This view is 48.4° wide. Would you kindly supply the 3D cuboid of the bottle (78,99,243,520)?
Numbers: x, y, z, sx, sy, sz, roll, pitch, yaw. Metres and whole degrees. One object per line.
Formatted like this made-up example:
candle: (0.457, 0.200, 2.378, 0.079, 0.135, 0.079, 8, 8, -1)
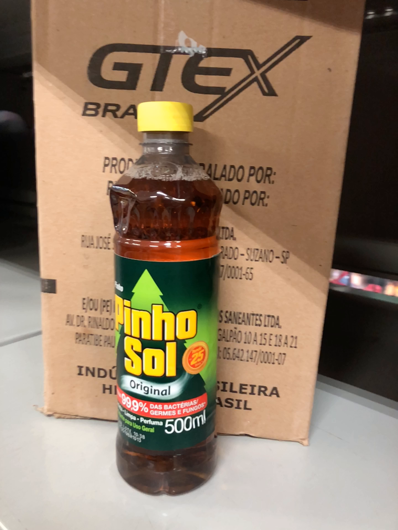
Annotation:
bottle: (-0.019, 0.025, 0.253, 0.070, 0.219, 0.060, 5, 14, 11)
